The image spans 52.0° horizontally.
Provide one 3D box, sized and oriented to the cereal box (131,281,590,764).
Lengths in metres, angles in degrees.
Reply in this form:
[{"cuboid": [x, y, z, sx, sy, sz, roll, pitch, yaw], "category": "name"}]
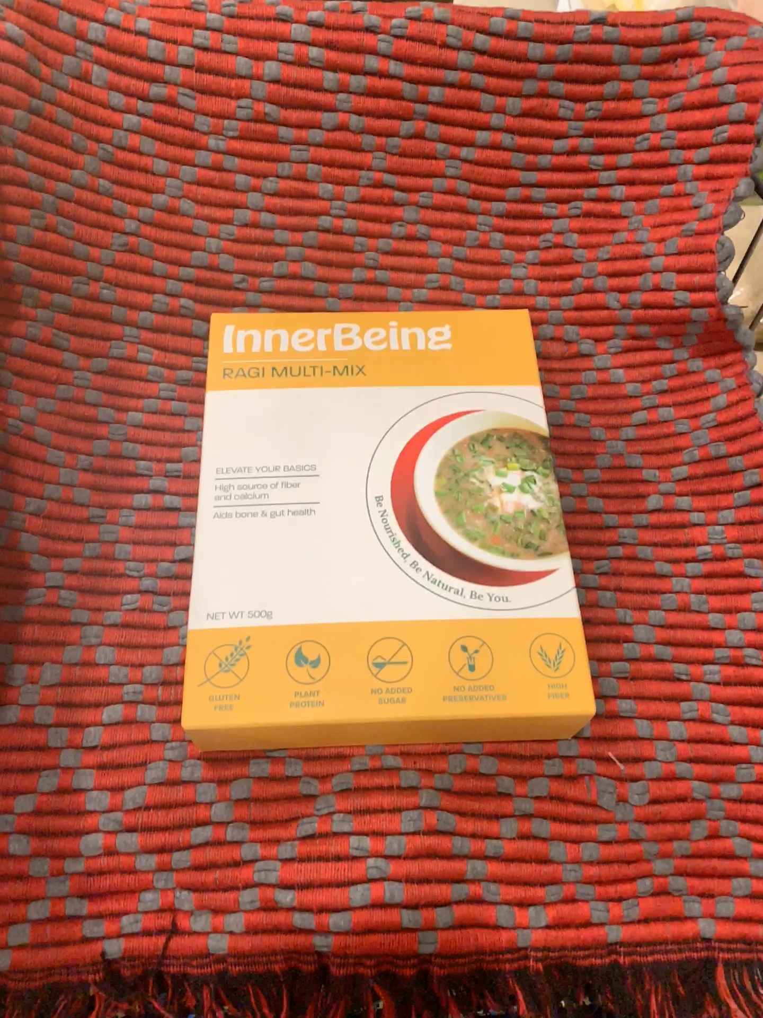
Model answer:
[{"cuboid": [-0.011, 0.000, 0.332, 0.150, 0.070, 0.190, -1, 61, -3], "category": "cereal box"}]
